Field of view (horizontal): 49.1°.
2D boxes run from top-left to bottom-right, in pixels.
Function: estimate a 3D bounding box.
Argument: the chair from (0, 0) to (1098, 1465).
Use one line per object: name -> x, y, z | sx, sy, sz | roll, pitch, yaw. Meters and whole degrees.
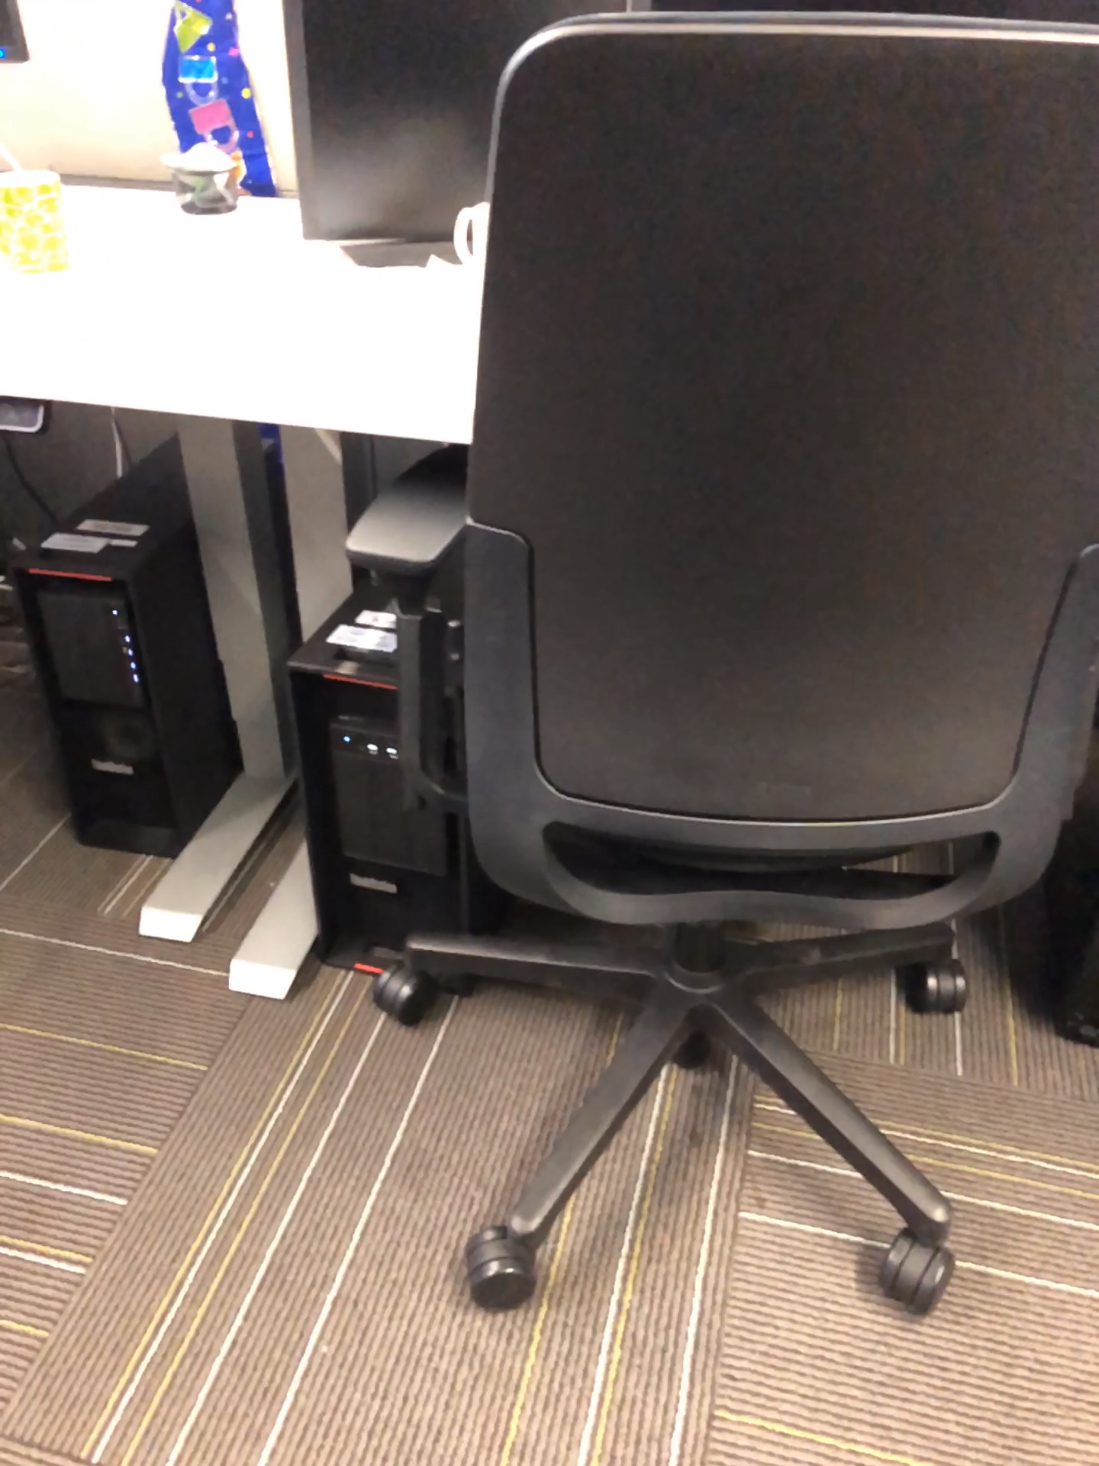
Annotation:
chair -> 0.111, -0.033, 0.985 | 0.780, 1.014, 0.664 | 8, 35, 11
